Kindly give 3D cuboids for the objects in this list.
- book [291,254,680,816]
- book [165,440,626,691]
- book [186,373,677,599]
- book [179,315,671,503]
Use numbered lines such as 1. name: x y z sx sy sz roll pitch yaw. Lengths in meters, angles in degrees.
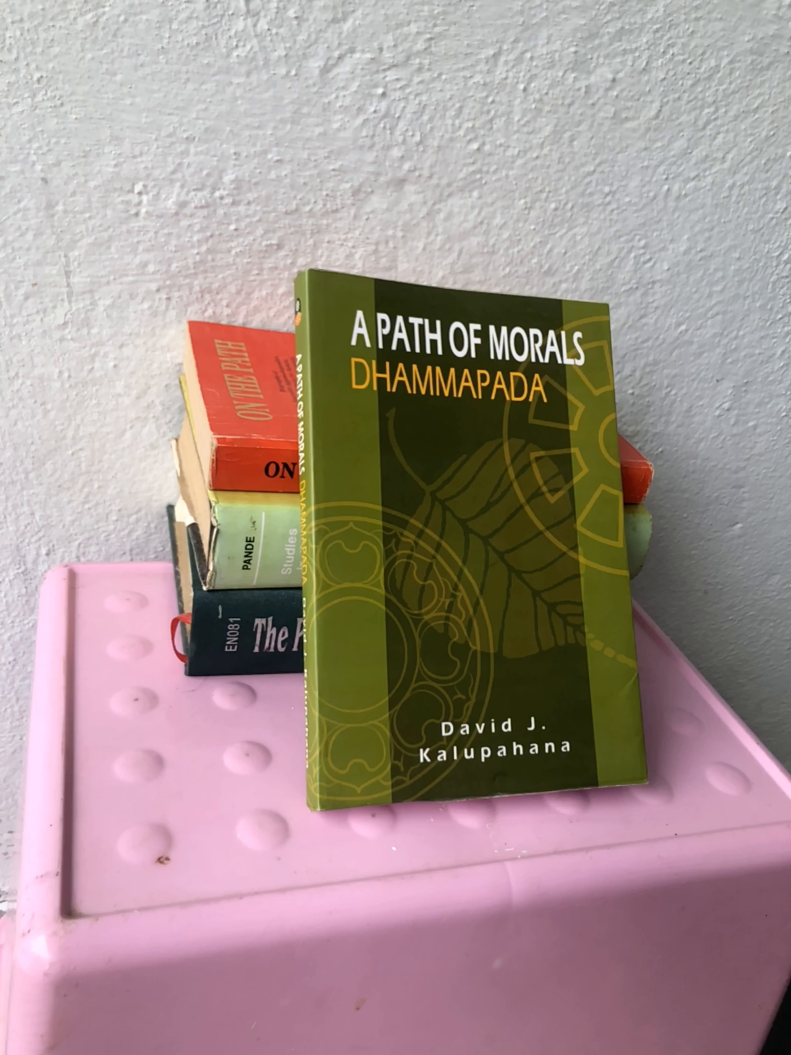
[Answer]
1. book: 0.035 0.002 0.368 0.150 0.210 0.040 2 -10 -20
2. book: -0.012 0.012 0.472 0.210 0.050 0.161 0 29 -17
3. book: 0.007 -0.027 0.452 0.210 0.040 0.161 0 29 -19
4. book: 0.004 -0.063 0.447 0.210 0.030 0.161 0 29 -18
